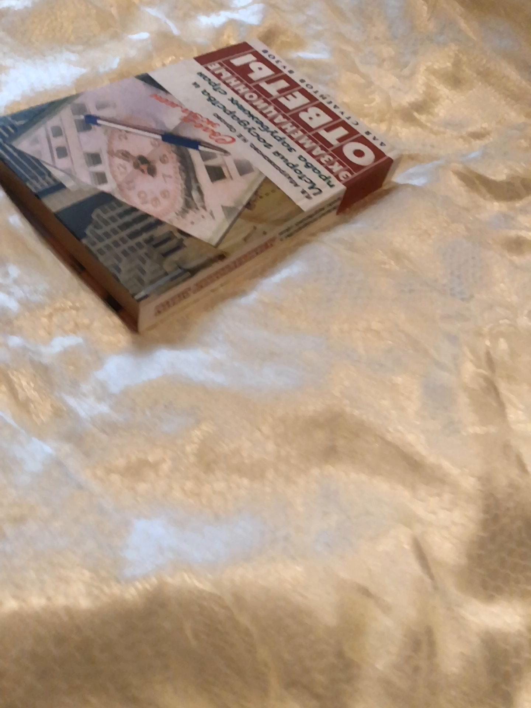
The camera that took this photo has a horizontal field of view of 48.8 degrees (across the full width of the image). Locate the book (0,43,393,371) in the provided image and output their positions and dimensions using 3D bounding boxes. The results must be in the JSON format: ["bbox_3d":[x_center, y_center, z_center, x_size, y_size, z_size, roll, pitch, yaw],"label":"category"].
[{"bbox_3d":[-0.046,-0.104,0.347,0.150,0.030,0.211,45,57,14],"label":"book"}]
